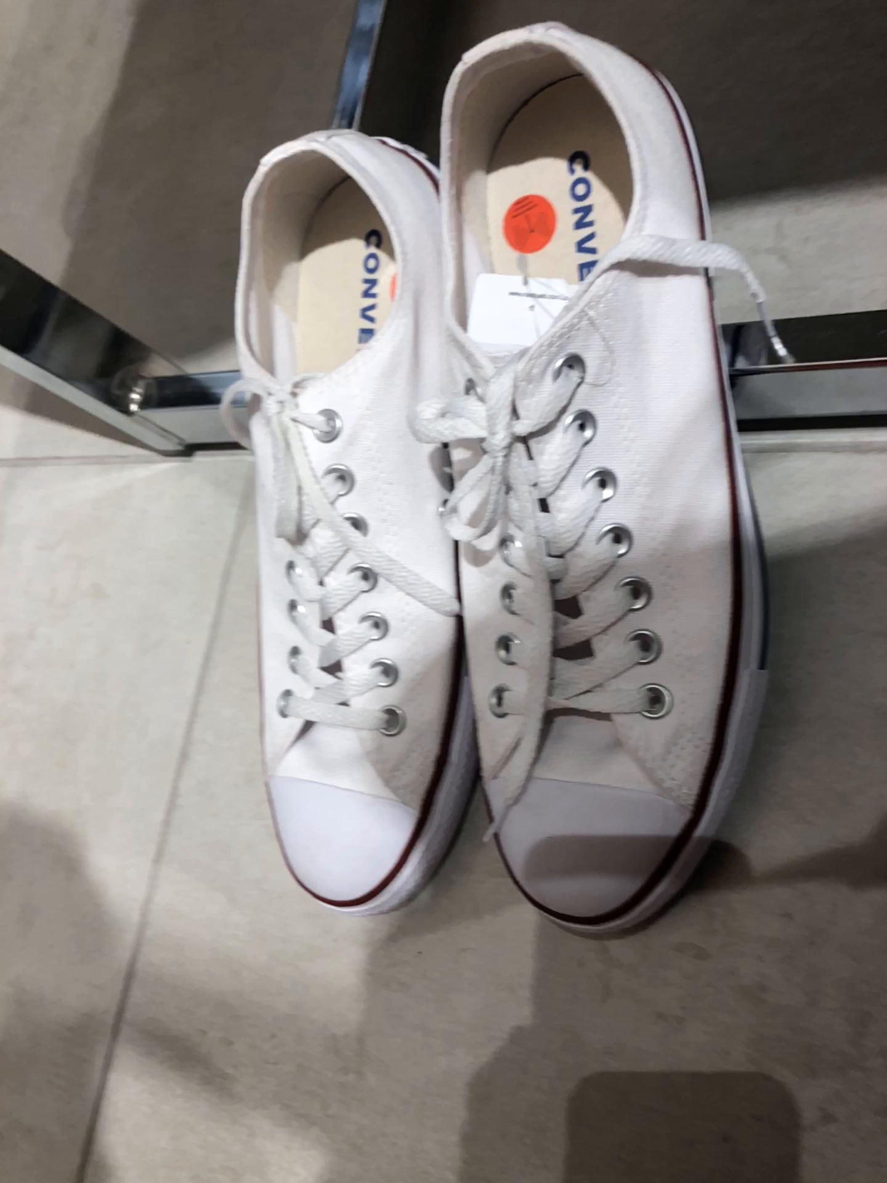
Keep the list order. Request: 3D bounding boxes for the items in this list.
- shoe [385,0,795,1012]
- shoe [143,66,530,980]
[{"bbox_3d":[0.052,-0.033,0.325,0.100,0.090,0.290,2,97,32],"label":"shoe"},{"bbox_3d":[-0.038,-0.022,0.380,0.110,0.090,0.290,4,98,33],"label":"shoe"}]
